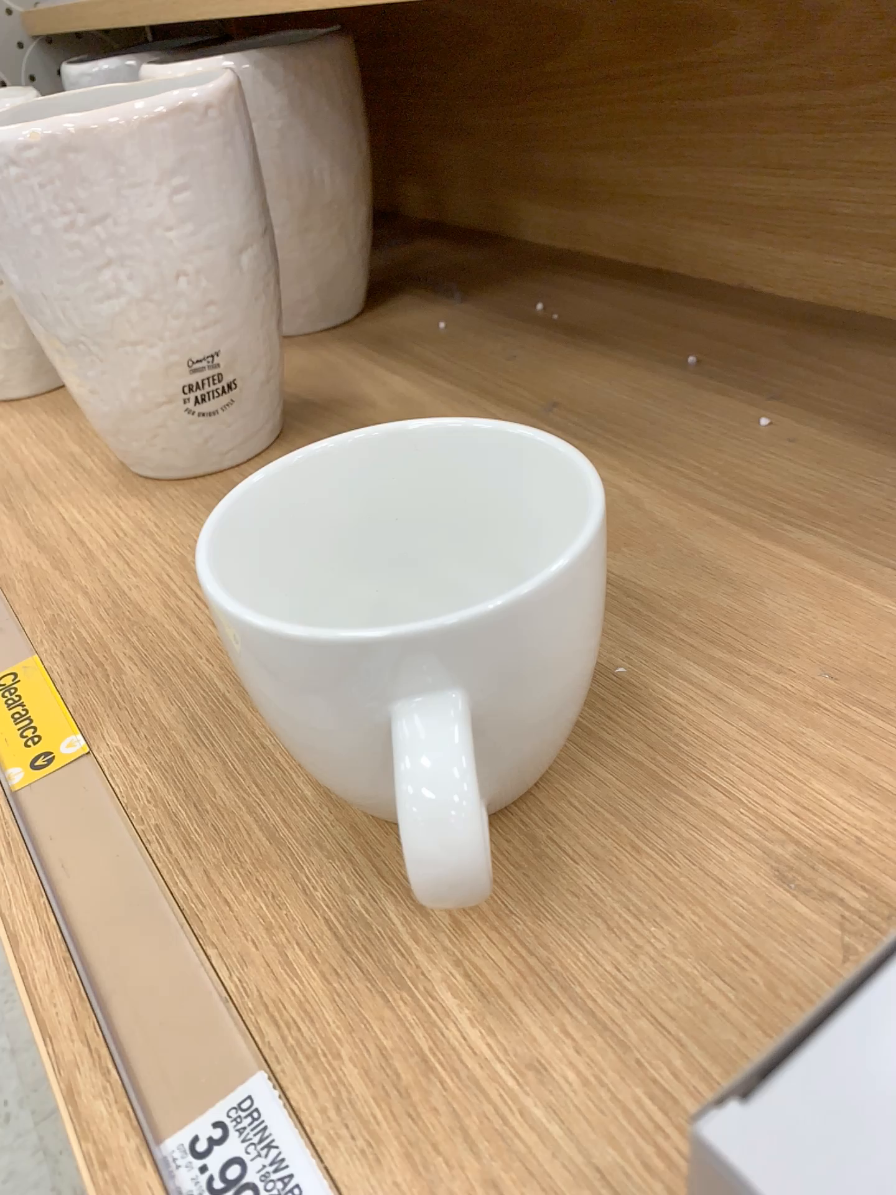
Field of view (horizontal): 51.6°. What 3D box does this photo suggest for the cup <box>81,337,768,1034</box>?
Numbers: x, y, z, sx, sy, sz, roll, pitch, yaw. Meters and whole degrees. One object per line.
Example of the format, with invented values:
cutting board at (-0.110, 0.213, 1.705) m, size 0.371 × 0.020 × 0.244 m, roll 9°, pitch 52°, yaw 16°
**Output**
cup at (-0.006, 0.008, 0.226) m, size 0.110 × 0.080 × 0.141 m, roll -10°, pitch 35°, yaw -1°
